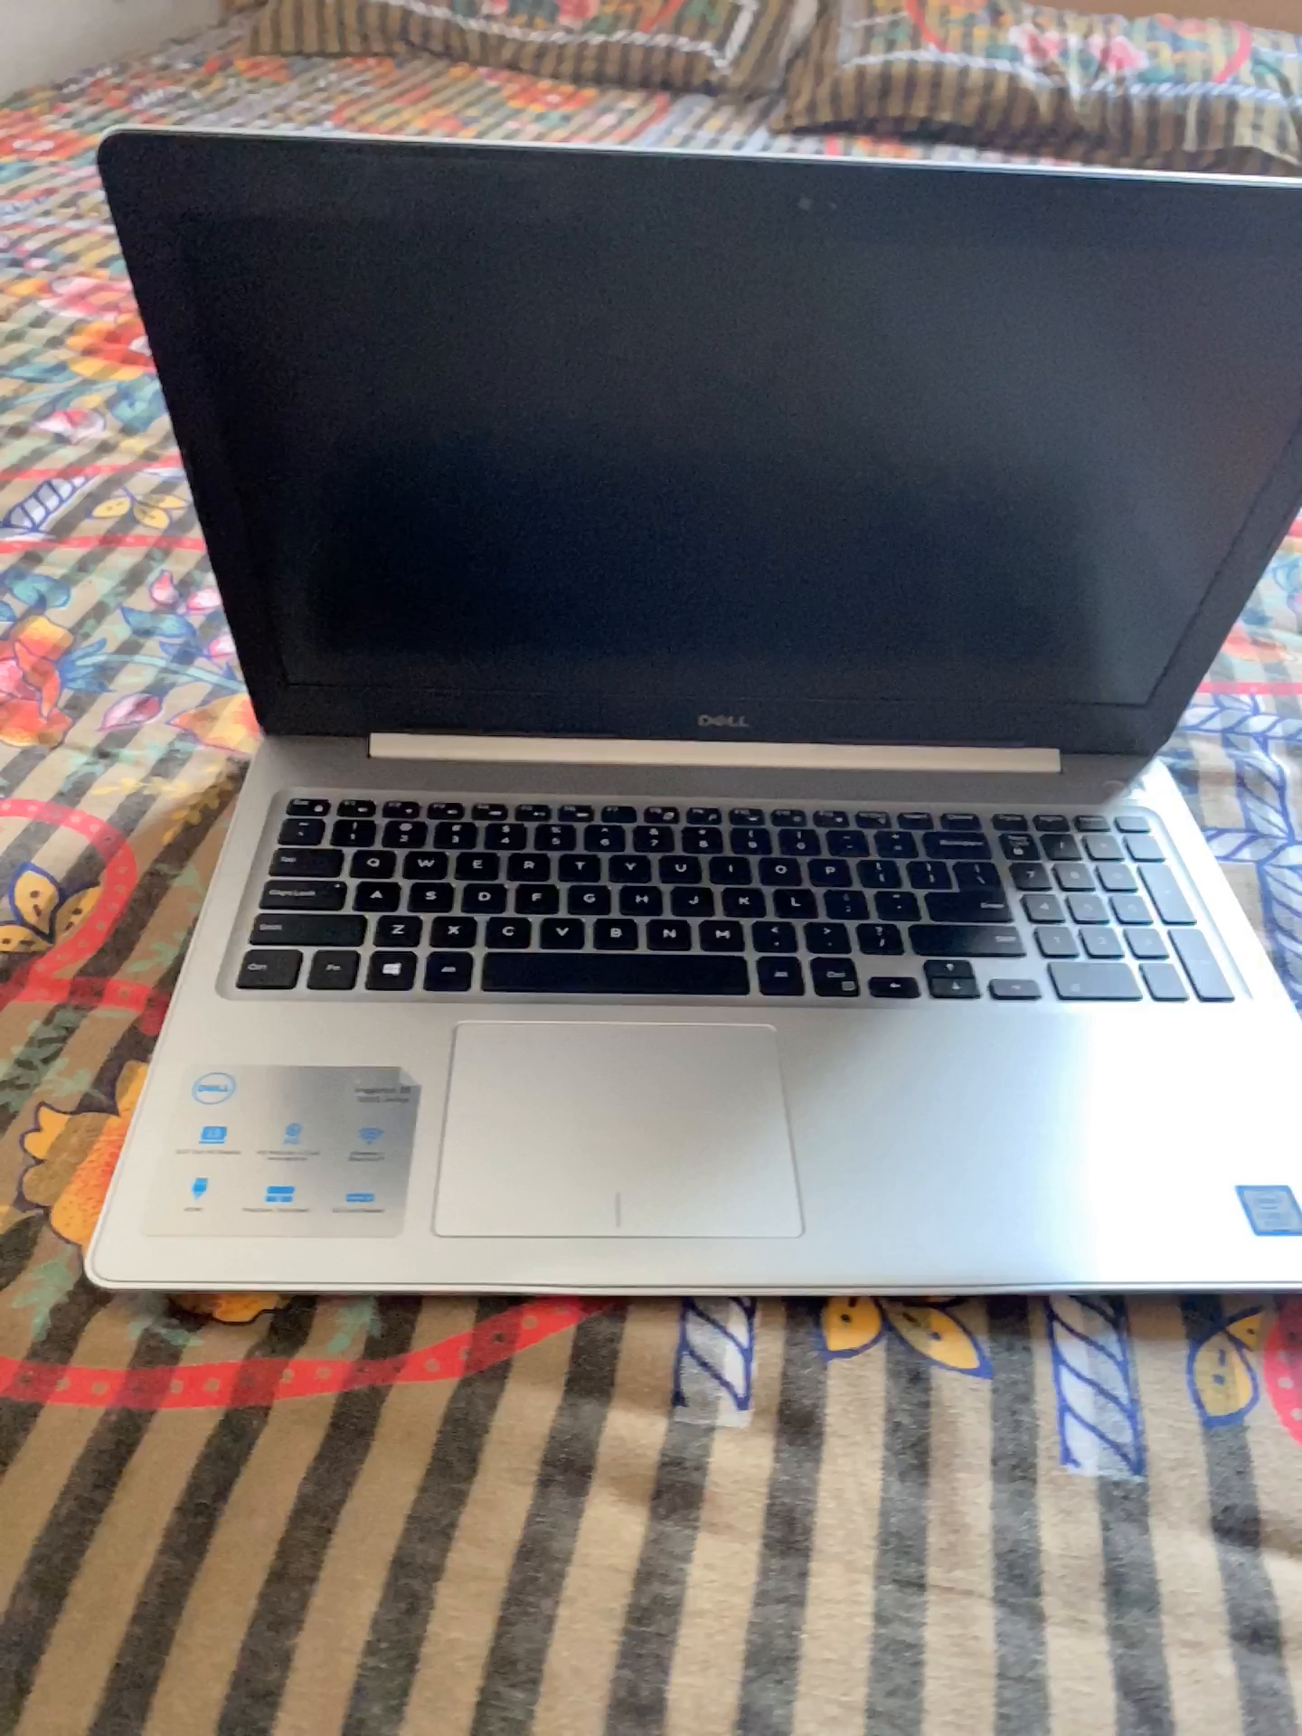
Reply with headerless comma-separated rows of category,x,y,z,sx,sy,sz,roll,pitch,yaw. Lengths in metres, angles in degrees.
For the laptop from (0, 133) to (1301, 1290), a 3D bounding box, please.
laptop,0.035,-0.042,0.377,0.373,0.231,0.211,1,41,-3
